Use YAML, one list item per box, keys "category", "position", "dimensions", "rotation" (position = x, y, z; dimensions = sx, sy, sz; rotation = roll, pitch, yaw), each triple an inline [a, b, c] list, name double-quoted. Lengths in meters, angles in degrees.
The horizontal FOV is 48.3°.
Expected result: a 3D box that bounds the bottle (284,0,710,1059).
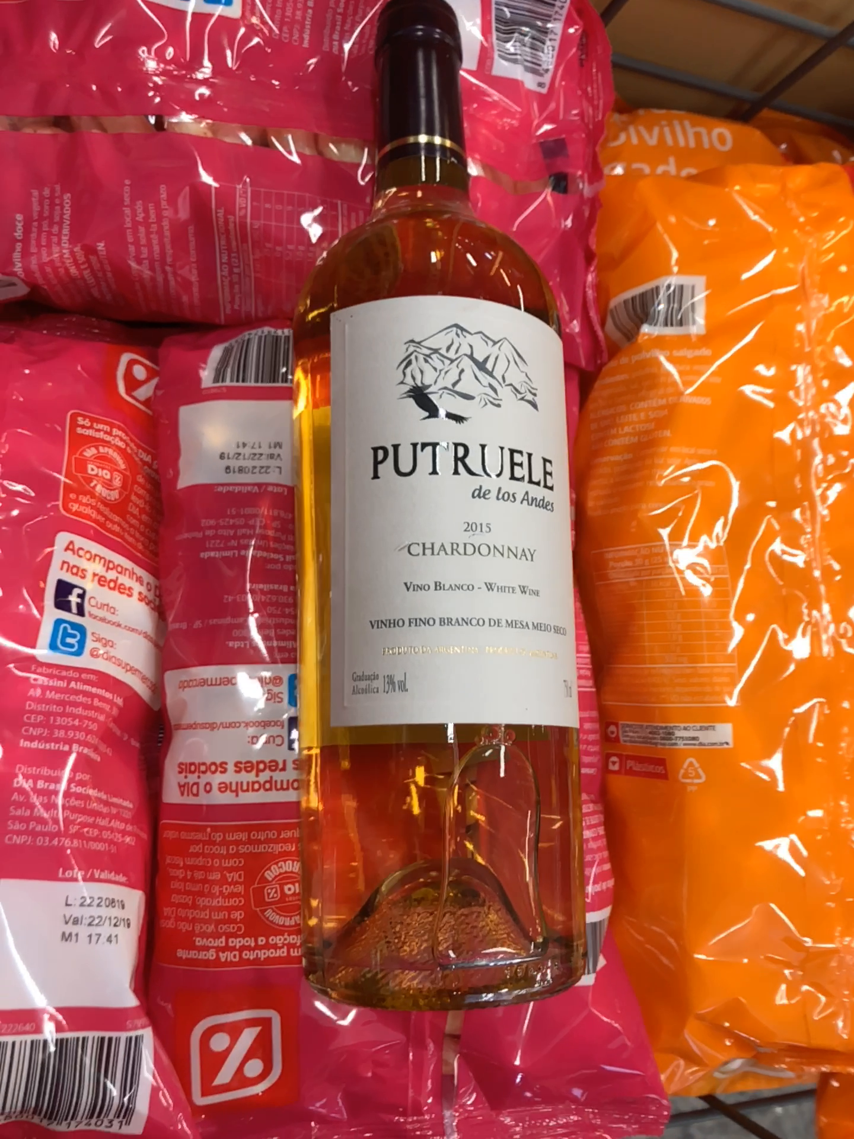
- category: "bottle"
  position: [0.008, -0.041, 0.264]
  dimensions: [0.080, 0.070, 0.300]
  rotation: [3, 75, -20]
